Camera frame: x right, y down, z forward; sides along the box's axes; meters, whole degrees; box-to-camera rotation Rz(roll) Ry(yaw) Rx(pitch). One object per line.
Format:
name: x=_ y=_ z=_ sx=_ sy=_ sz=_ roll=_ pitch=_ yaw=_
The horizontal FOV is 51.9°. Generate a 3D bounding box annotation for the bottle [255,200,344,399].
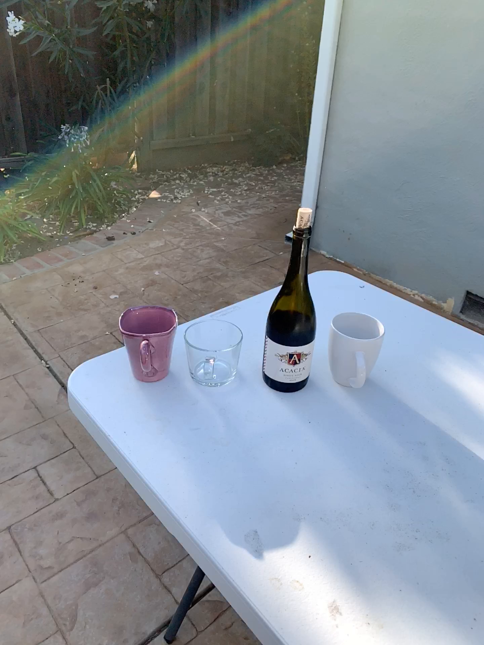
bottle: x=0.084 y=-0.031 z=0.803 sx=0.080 sy=0.308 sz=0.091 roll=-6 pitch=32 yaw=-15
